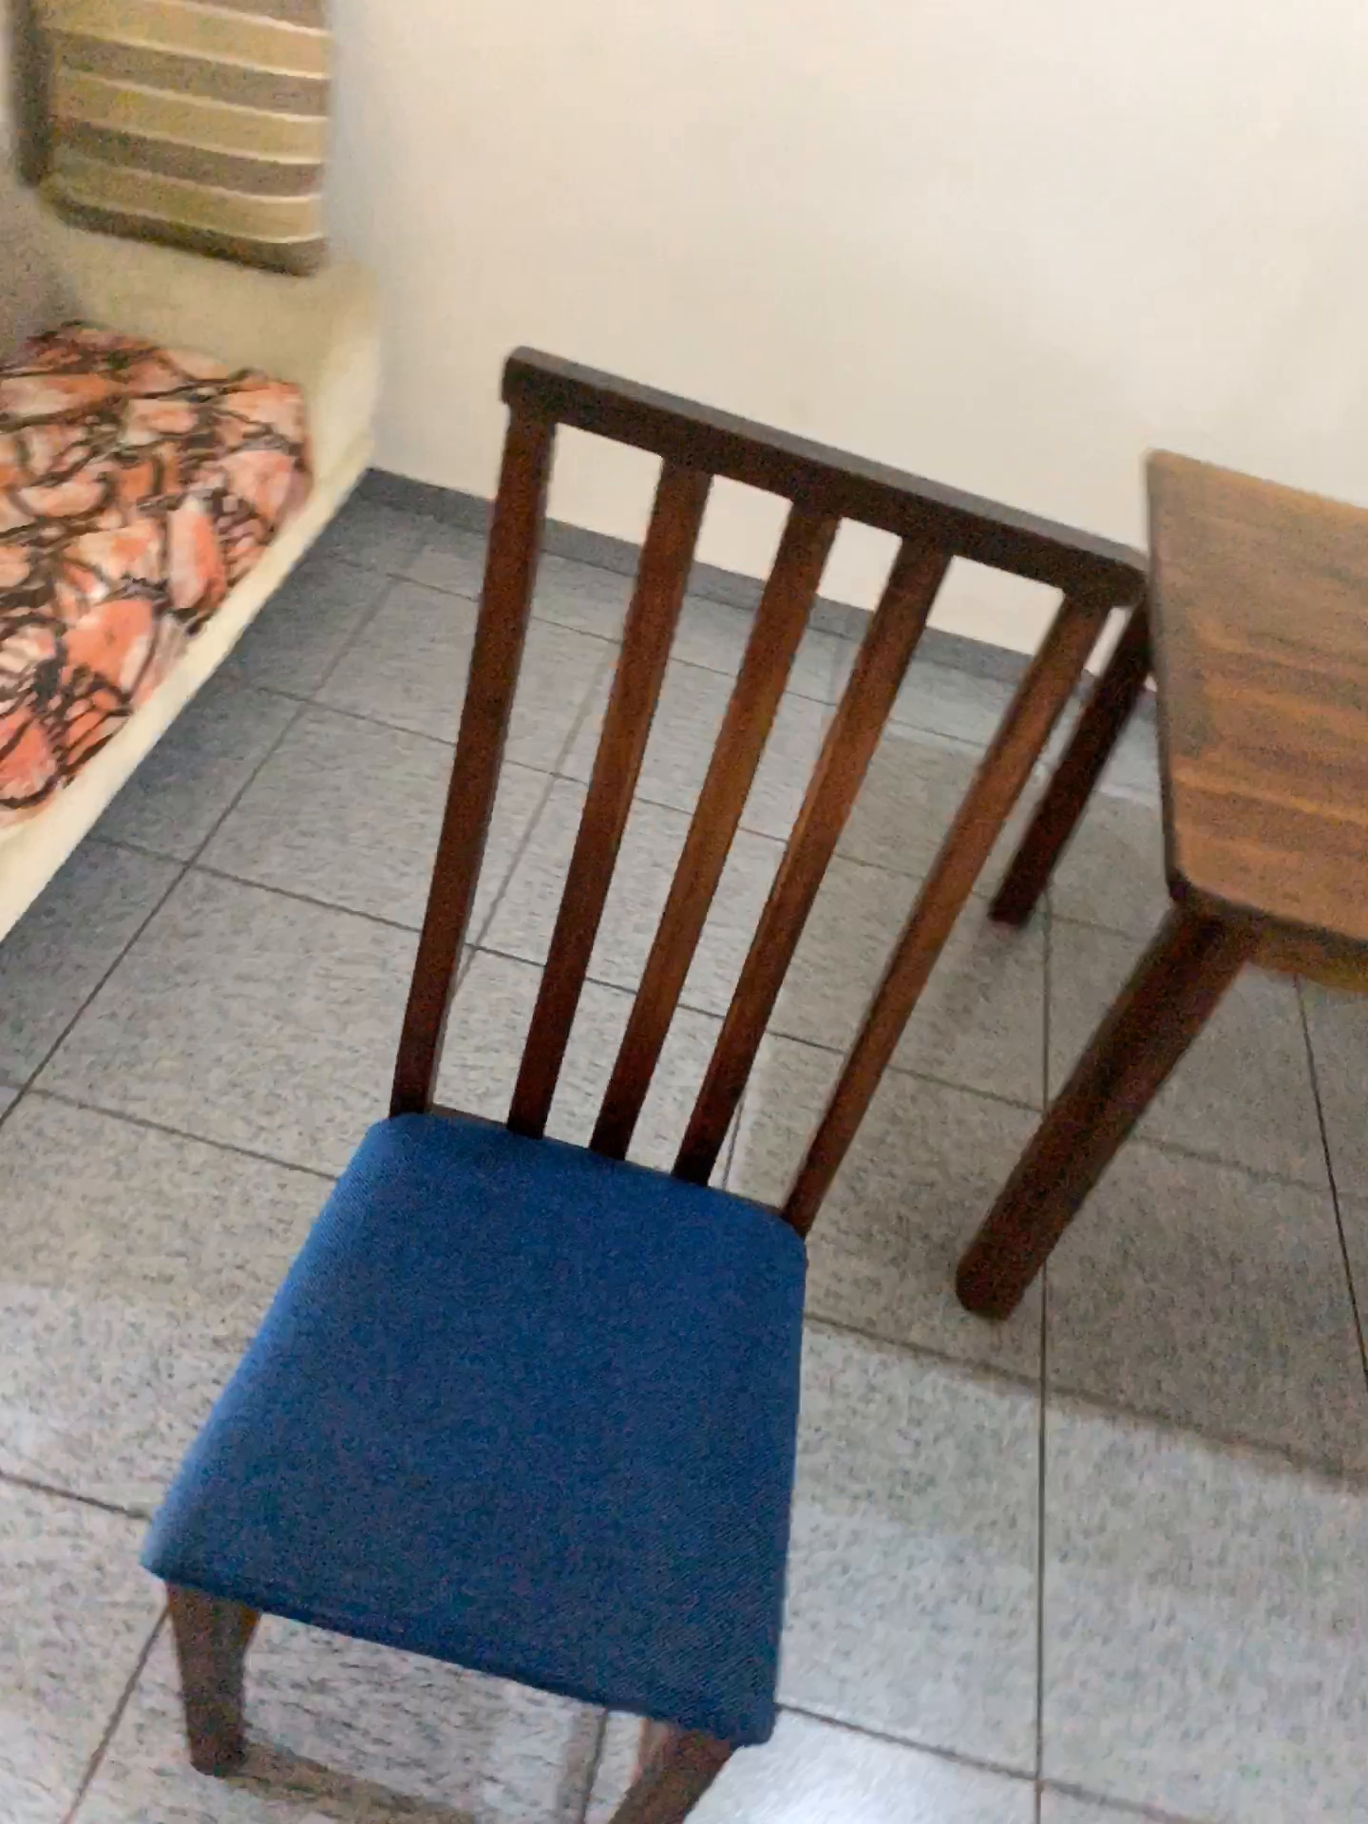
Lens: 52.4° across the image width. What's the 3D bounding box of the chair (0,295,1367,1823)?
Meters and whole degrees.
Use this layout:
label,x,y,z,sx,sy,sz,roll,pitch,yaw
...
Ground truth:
label,x,y,z,sx,sy,sz,roll,pitch,yaw
chair,-0.079,0.273,1.004,0.470,1.123,0.523,18,43,0
